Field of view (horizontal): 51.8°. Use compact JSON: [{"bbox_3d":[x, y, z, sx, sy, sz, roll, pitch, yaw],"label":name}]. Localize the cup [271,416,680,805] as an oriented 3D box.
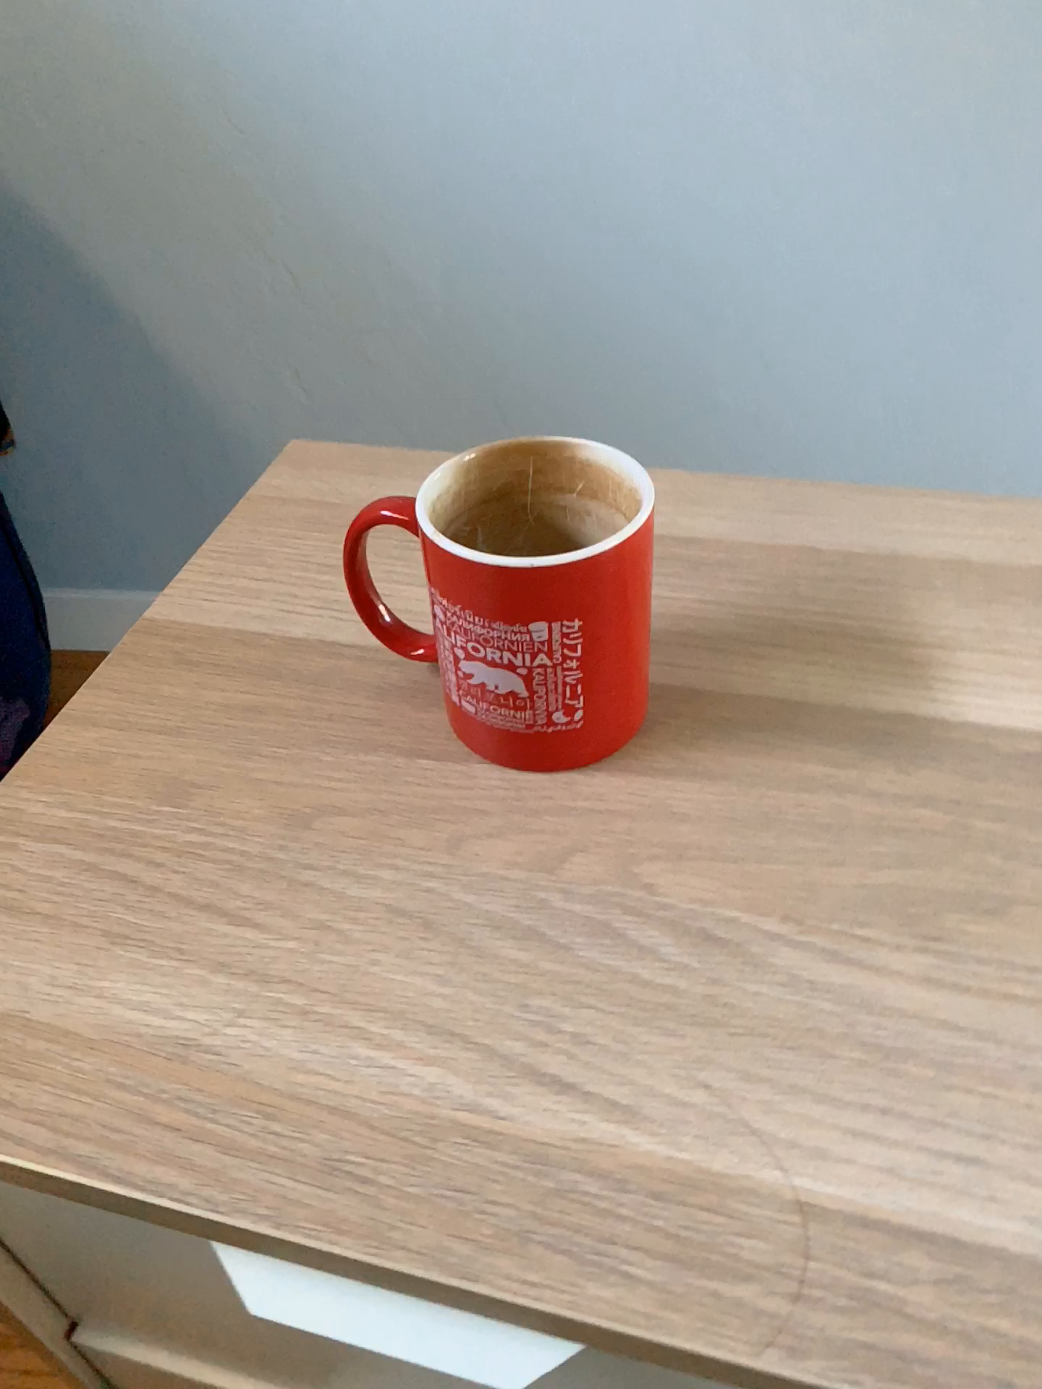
[{"bbox_3d":[-0.012,-0.033,0.394,0.120,0.100,0.070,13,45,19],"label":"cup"}]
